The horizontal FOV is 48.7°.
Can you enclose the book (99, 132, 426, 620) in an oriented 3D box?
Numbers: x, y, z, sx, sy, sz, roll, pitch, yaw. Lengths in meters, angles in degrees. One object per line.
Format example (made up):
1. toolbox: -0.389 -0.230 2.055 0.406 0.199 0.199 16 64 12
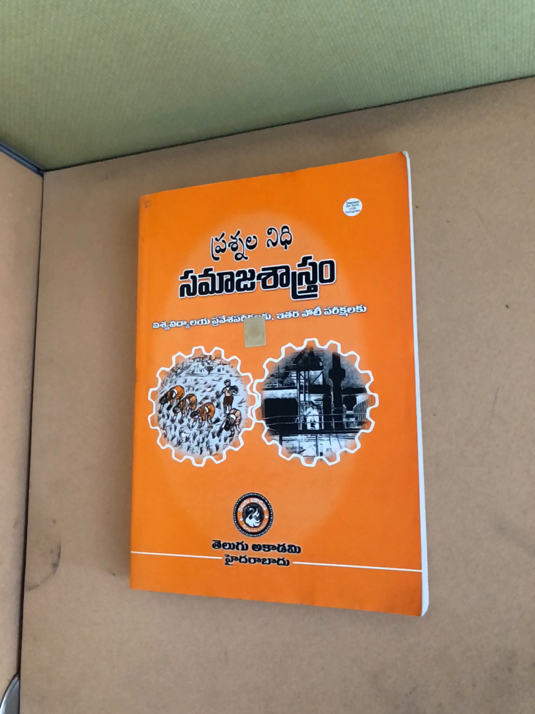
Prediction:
1. book: -0.007 0.011 0.409 0.210 0.050 0.290 -3 81 20
